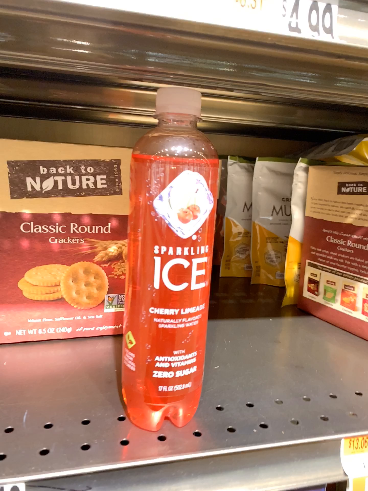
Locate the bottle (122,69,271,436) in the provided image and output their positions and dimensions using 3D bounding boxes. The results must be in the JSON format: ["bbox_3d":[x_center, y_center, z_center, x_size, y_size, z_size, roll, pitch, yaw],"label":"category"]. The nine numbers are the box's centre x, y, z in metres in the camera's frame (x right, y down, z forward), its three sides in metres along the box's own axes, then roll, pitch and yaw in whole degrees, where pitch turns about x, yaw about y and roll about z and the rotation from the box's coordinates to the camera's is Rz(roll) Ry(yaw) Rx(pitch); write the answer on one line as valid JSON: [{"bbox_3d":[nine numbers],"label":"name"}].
[{"bbox_3d":[-0.001,0.009,0.246,0.065,0.211,0.060,4,14,-1],"label":"bottle"}]
